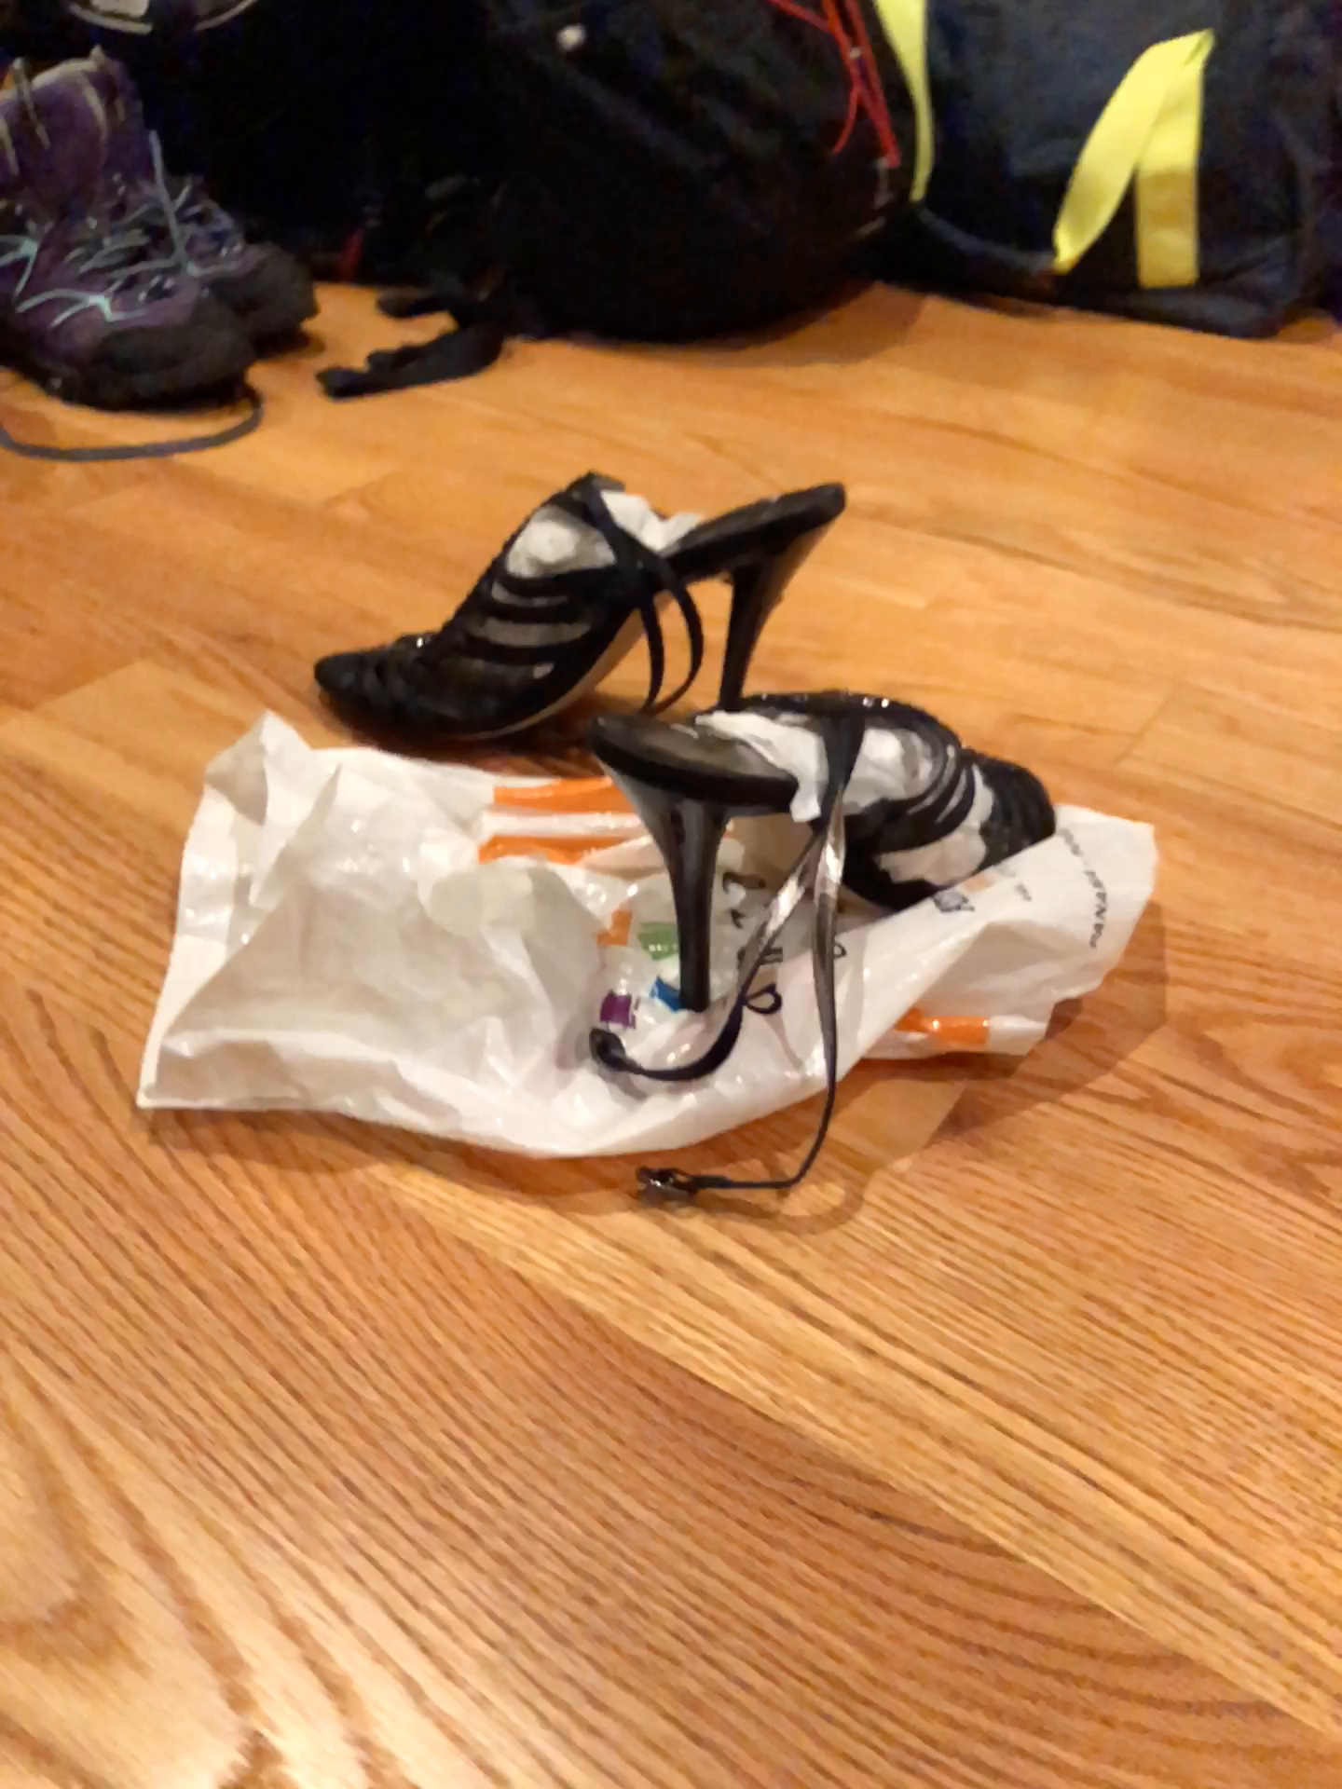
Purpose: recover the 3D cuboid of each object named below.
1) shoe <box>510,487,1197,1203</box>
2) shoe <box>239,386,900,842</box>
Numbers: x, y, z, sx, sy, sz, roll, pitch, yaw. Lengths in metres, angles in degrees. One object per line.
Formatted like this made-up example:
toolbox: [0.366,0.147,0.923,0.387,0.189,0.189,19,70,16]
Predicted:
shoe: [0.061,-0.030,0.454,0.092,0.112,0.218,26,41,29]
shoe: [-0.035,-0.110,0.561,0.217,0.112,0.091,11,36,11]
